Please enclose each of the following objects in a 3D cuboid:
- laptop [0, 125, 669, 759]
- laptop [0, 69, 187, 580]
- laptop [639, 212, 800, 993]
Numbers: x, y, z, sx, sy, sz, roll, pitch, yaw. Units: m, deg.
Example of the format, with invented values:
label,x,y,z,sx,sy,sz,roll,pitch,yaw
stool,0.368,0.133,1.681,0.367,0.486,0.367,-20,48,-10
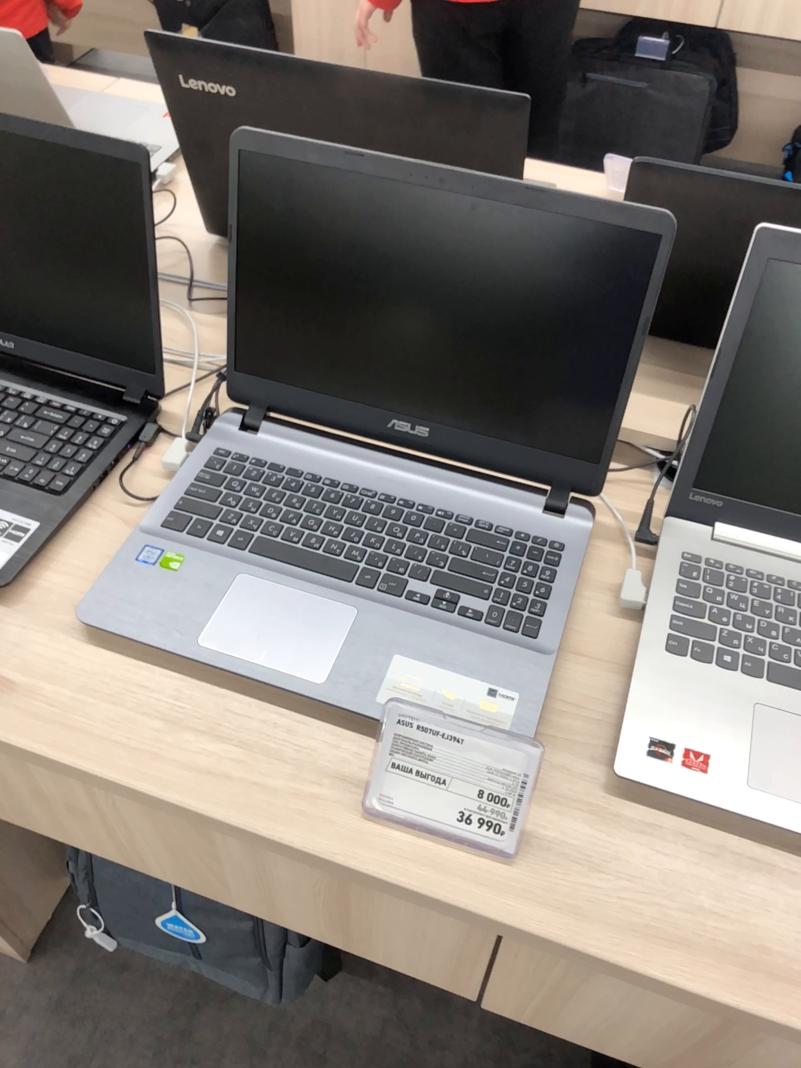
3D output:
label,x,y,z,sx,sy,sz,roll,pitch,yaw
laptop,-0.027,-0.086,0.650,0.345,0.226,0.330,16,51,11
laptop,-0.419,-0.185,0.729,0.332,0.222,0.292,17,50,12
laptop,0.377,0.019,0.578,0.370,0.220,0.333,15,51,10
